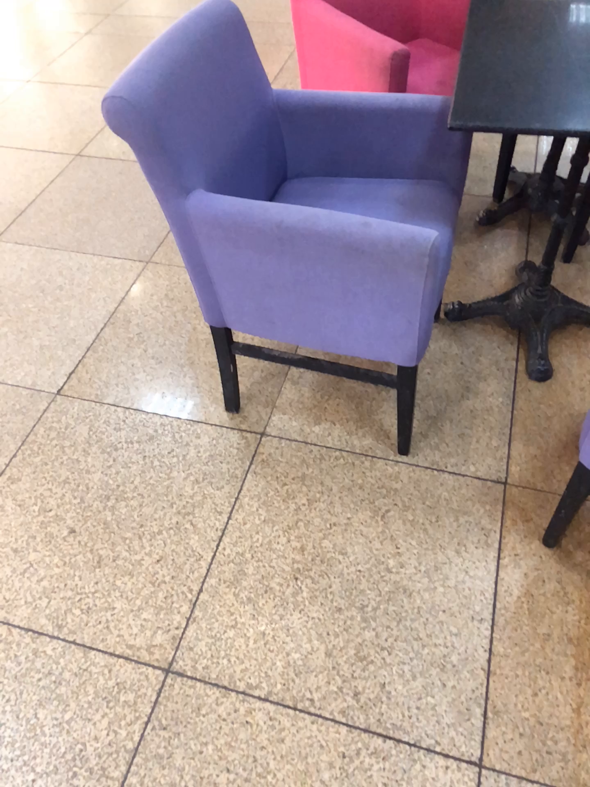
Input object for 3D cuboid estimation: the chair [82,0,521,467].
[{"bbox_3d":[0.065,-0.371,1.487,0.660,0.817,0.572,12,51,15],"label":"chair"}]
